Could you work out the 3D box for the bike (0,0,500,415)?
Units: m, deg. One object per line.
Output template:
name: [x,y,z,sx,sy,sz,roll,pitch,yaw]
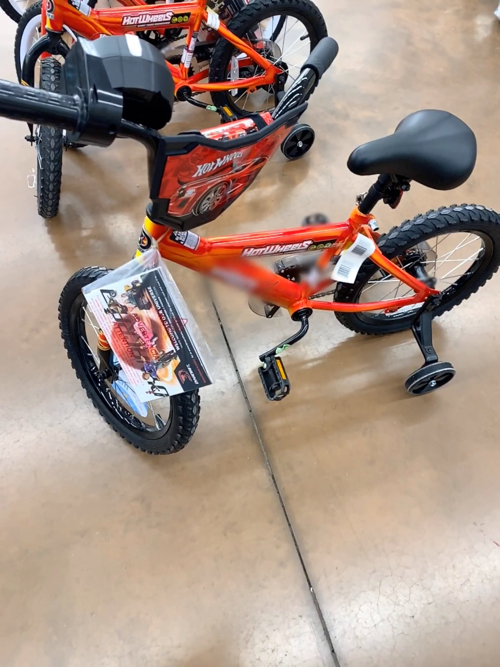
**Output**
bike: [0.049,-0.275,1.036,0.994,0.822,0.504,-10,58,-1]
